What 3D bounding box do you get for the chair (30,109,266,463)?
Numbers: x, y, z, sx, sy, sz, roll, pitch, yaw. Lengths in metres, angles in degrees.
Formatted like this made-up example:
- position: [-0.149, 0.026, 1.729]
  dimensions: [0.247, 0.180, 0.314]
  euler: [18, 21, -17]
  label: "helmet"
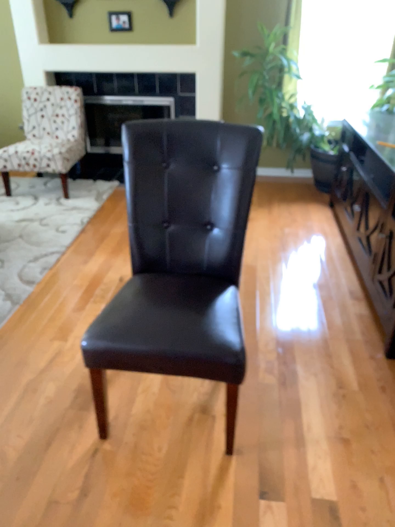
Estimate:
- position: [-0.070, 0.036, 1.461]
  dimensions: [0.537, 0.977, 0.727]
  euler: [4, 30, 7]
  label: "chair"
